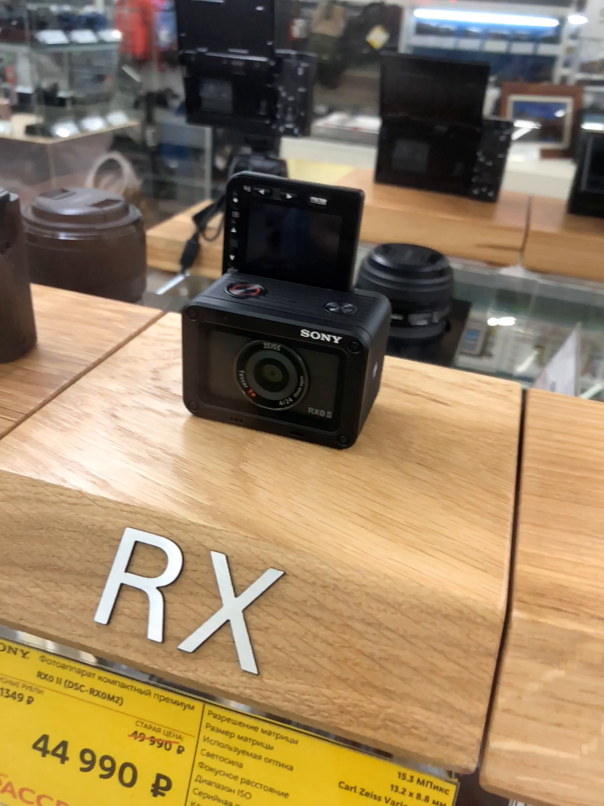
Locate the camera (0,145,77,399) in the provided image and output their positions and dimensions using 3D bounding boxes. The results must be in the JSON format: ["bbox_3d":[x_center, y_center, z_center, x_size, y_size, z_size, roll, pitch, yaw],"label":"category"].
[{"bbox_3d":[-0.144,-0.051,0.250,0.105,0.067,0.041,12,31,13],"label":"camera"}]

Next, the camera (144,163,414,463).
[{"bbox_3d":[-0.006,-0.030,0.206,0.062,0.067,0.050,12,31,13],"label":"camera"}]
